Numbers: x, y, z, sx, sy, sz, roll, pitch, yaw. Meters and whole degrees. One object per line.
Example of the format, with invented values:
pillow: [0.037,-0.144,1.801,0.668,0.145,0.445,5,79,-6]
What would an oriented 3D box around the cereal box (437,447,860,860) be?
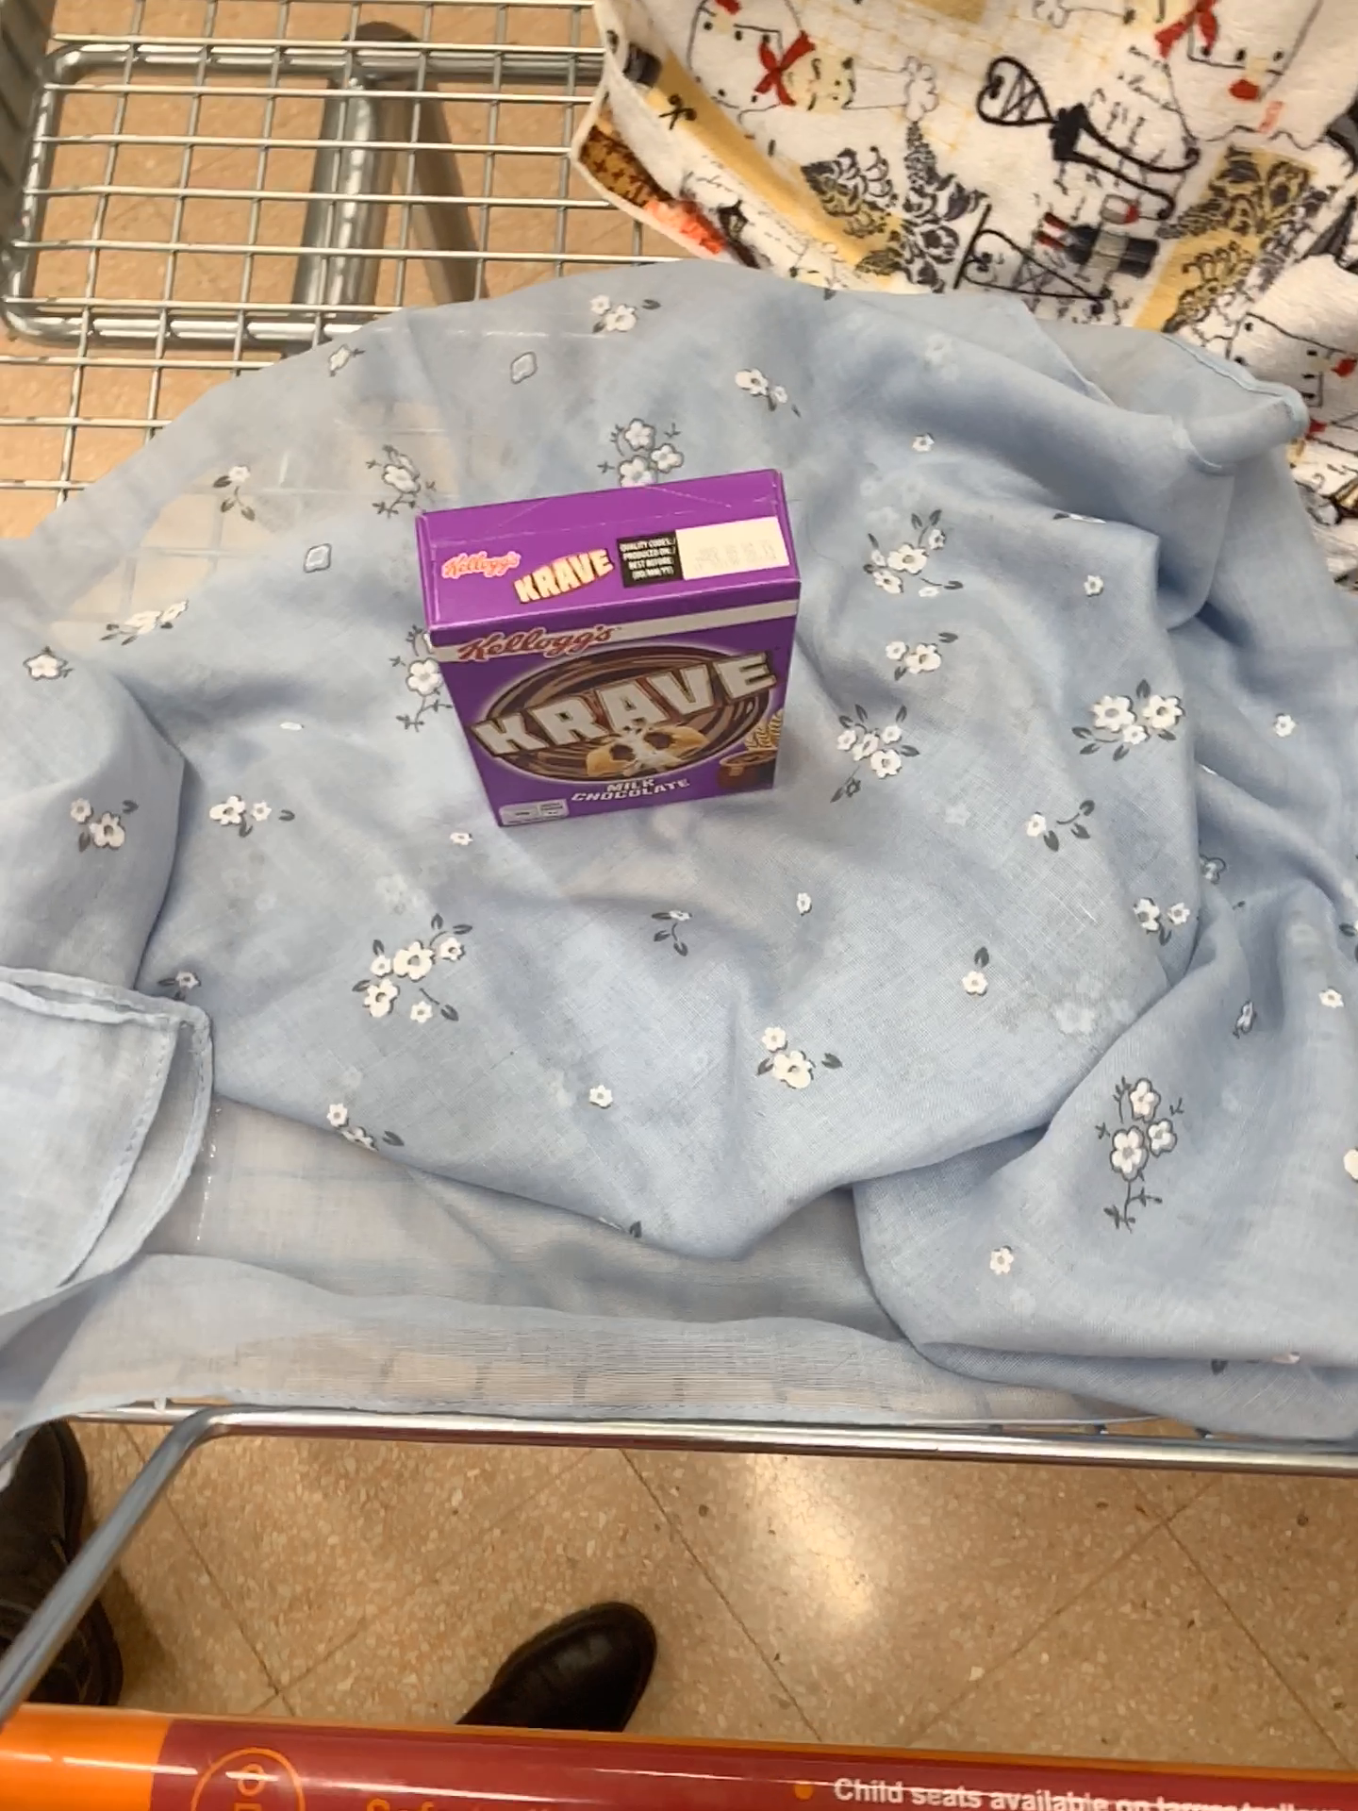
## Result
cereal box: [-0.007,-0.059,0.371,0.090,0.130,0.040,-7,71,-2]
